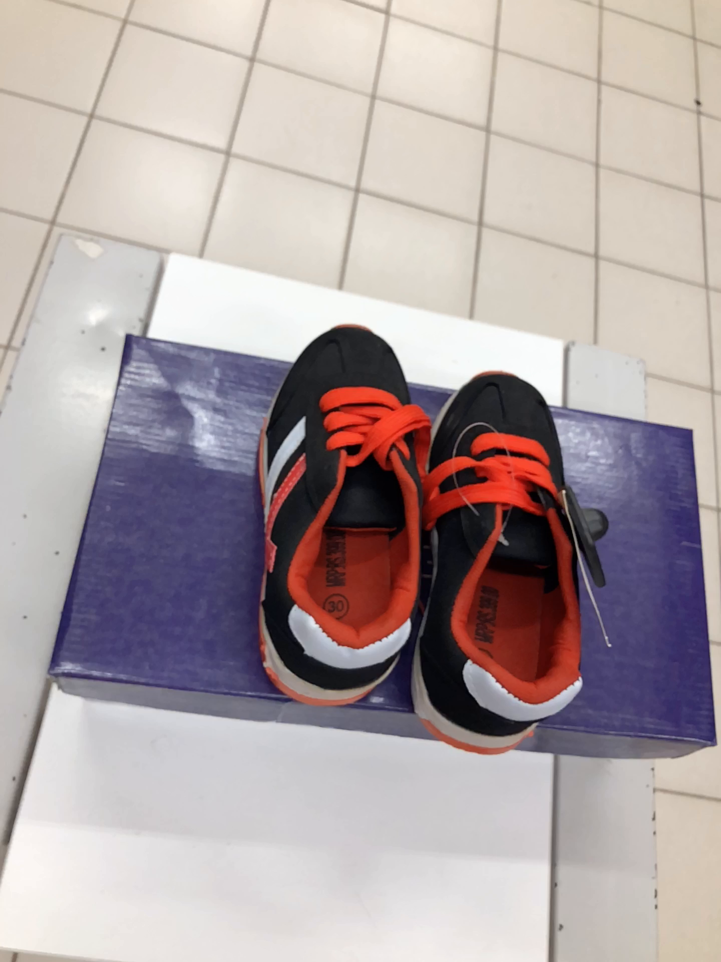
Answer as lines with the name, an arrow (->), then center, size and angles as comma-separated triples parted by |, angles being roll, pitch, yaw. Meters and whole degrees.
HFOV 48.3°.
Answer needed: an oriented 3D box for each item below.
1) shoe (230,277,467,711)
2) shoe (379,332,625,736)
shoe -> -0.006, 0.011, 0.397 | 0.080, 0.100, 0.181 | 10, 66, -10
shoe -> 0.067, 0.031, 0.406 | 0.080, 0.100, 0.171 | 10, 66, -10
